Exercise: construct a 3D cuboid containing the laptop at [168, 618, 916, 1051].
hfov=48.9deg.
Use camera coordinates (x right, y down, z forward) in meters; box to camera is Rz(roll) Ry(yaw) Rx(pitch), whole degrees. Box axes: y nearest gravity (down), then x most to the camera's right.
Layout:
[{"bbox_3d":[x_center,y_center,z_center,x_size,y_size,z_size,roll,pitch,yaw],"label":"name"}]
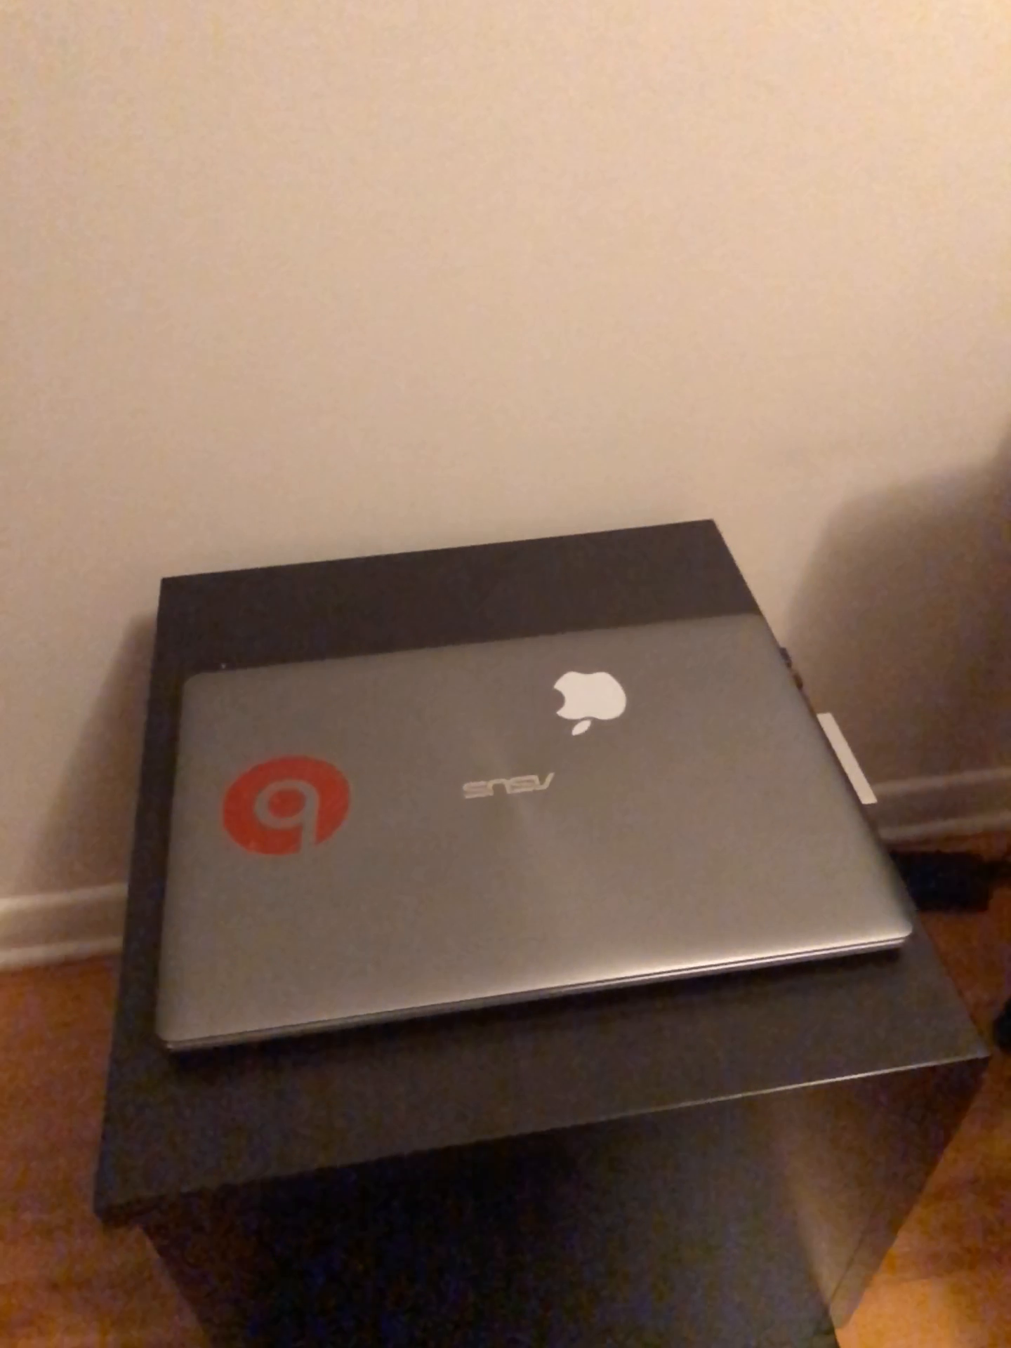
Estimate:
[{"bbox_3d":[0.004,0.073,0.640,0.373,0.010,0.250,-7,44,-5],"label":"laptop"}]
